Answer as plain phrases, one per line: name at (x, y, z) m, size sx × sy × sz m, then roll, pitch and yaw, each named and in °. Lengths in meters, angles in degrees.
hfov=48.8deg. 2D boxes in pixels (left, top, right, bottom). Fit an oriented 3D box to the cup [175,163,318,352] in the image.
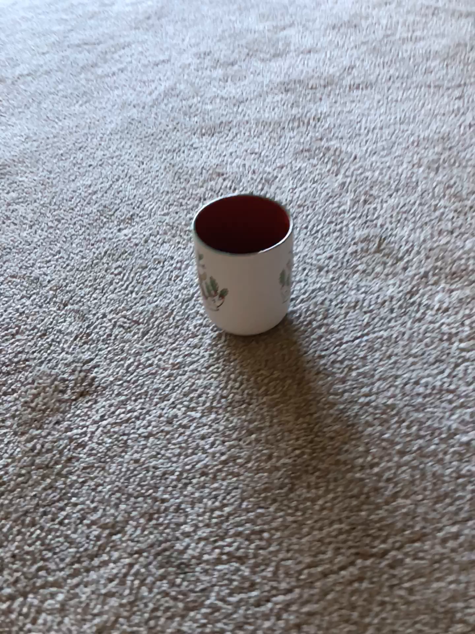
cup at (0.004, -0.058, 0.482) m, size 0.100 × 0.090 × 0.141 m, roll -9°, pitch 48°, yaw -3°
